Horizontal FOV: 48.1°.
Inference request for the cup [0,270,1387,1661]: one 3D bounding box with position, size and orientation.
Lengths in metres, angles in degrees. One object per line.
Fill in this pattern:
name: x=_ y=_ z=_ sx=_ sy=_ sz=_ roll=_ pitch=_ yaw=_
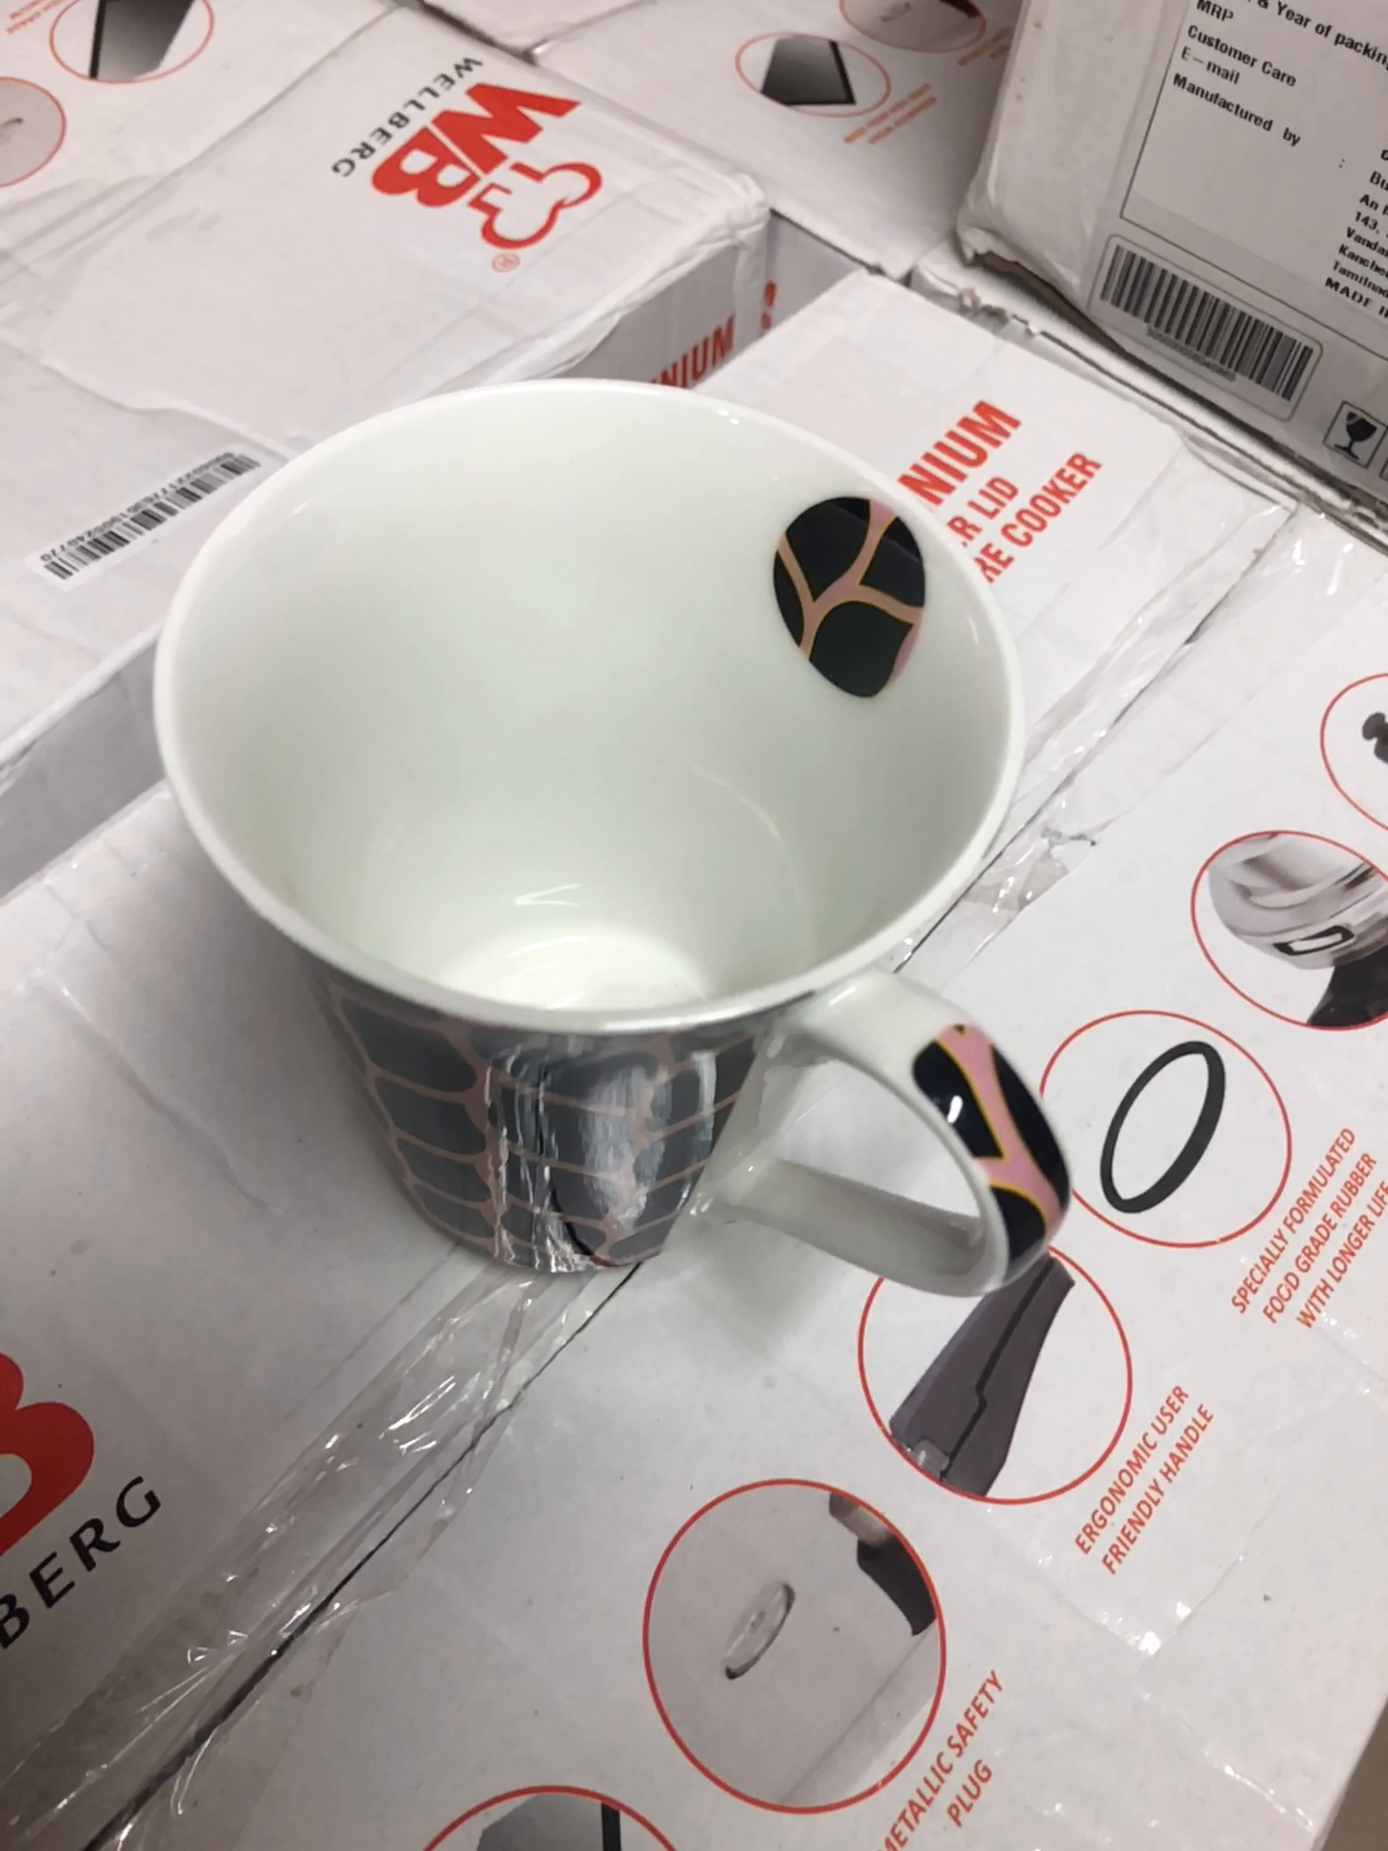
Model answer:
cup: x=0.000 y=0.007 z=0.180 sx=0.110 sy=0.090 sz=0.080 roll=39 pitch=61 yaw=15
